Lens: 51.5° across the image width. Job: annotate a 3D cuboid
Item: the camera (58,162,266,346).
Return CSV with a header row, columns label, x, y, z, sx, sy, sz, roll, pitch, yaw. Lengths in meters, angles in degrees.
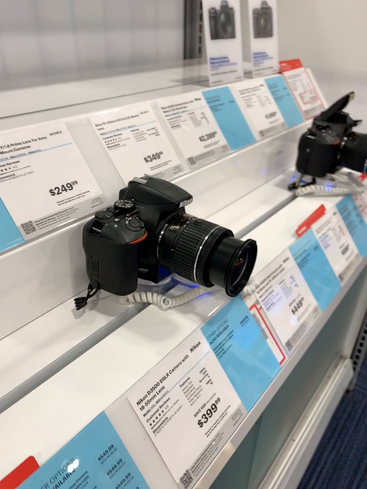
label,x,y,z,sx,sy,sz,roll,pitch,yaw
camera,-0.018,-0.004,0.389,0.150,0.099,0.130,20,36,29
